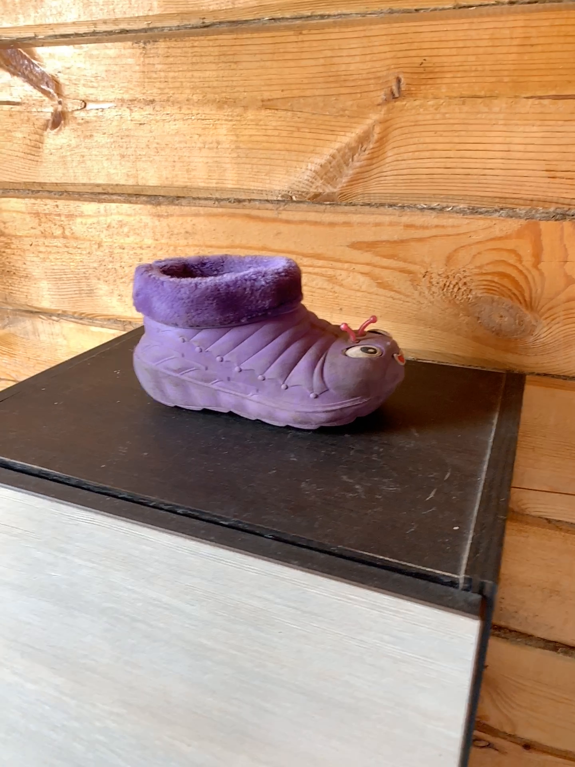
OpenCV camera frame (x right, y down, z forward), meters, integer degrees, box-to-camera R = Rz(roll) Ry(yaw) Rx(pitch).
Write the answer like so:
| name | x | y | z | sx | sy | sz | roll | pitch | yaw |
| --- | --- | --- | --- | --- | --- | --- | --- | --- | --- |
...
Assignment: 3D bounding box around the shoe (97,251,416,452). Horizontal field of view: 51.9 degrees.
| name | x | y | z | sx | sy | sz | roll | pitch | yaw |
| --- | --- | --- | --- | --- | --- | --- | --- | --- | --- |
| shoe | -0.019 | -0.032 | 0.425 | 0.200 | 0.099 | 0.091 | 8 | 22 | 18 |
